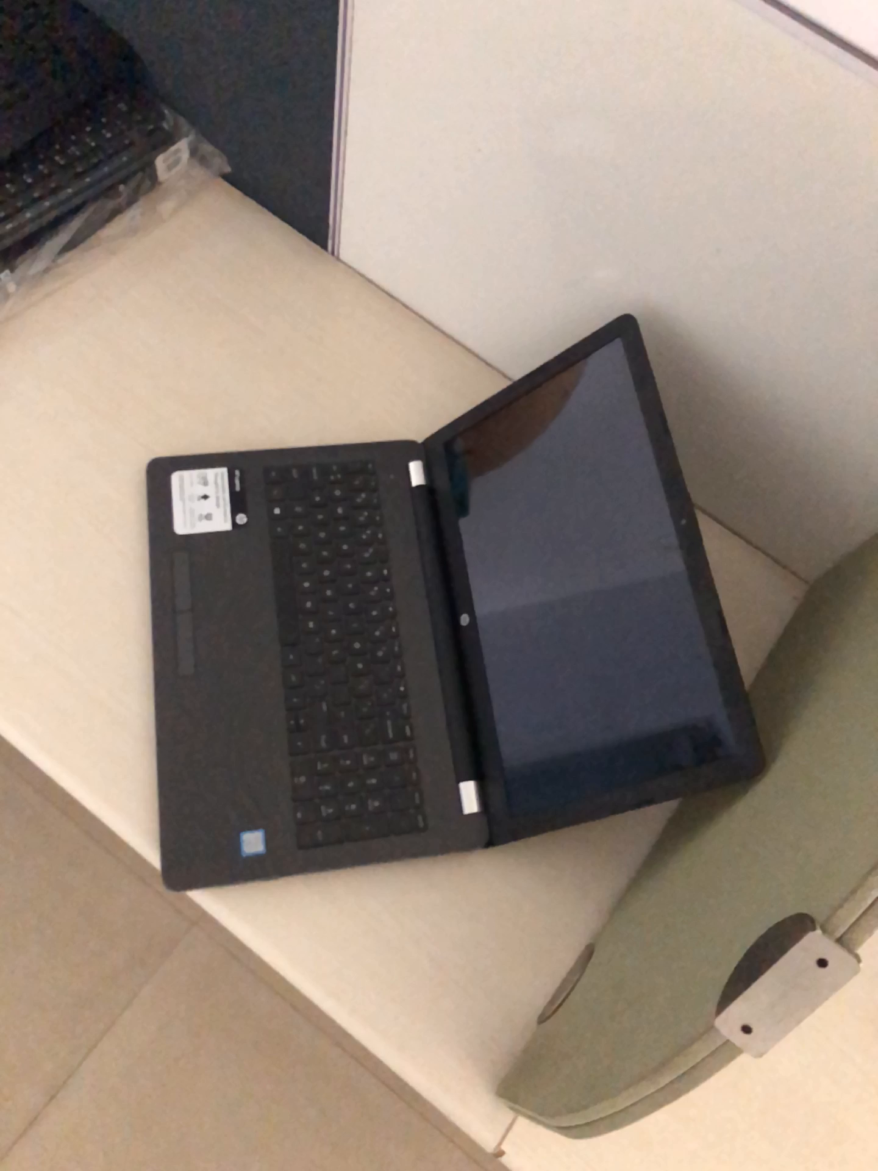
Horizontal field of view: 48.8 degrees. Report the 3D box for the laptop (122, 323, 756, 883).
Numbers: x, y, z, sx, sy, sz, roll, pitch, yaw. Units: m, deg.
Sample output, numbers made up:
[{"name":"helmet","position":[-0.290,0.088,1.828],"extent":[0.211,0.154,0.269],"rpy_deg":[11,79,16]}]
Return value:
[{"name":"laptop","position":[-0.024,0.005,0.752],"extent":[0.393,0.168,0.366],"rpy_deg":[-5,67,-10]}]
